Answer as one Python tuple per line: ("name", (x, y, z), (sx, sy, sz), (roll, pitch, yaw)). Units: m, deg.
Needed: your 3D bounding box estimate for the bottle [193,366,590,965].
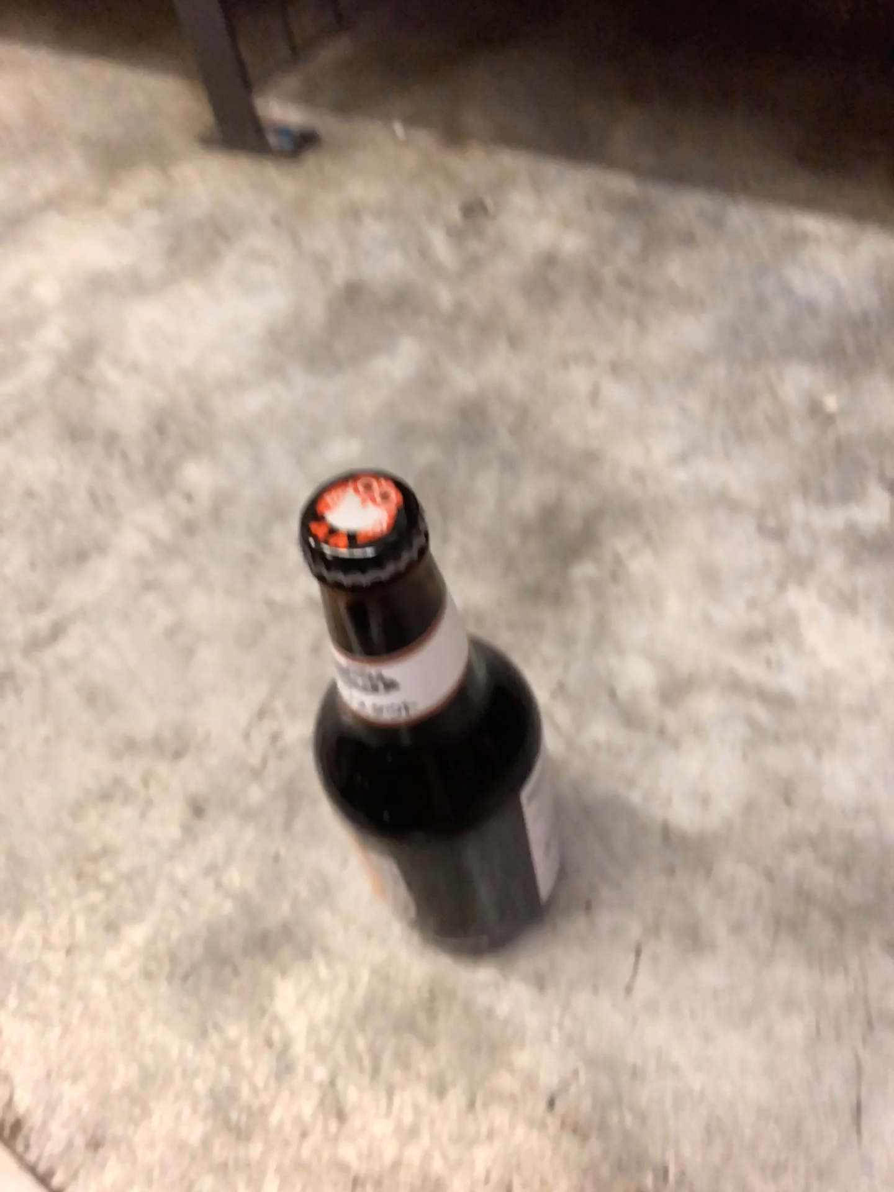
("bottle", (-0.006, 0.035, 0.279), (0.069, 0.181, 0.063), (-5, 51, 7))
